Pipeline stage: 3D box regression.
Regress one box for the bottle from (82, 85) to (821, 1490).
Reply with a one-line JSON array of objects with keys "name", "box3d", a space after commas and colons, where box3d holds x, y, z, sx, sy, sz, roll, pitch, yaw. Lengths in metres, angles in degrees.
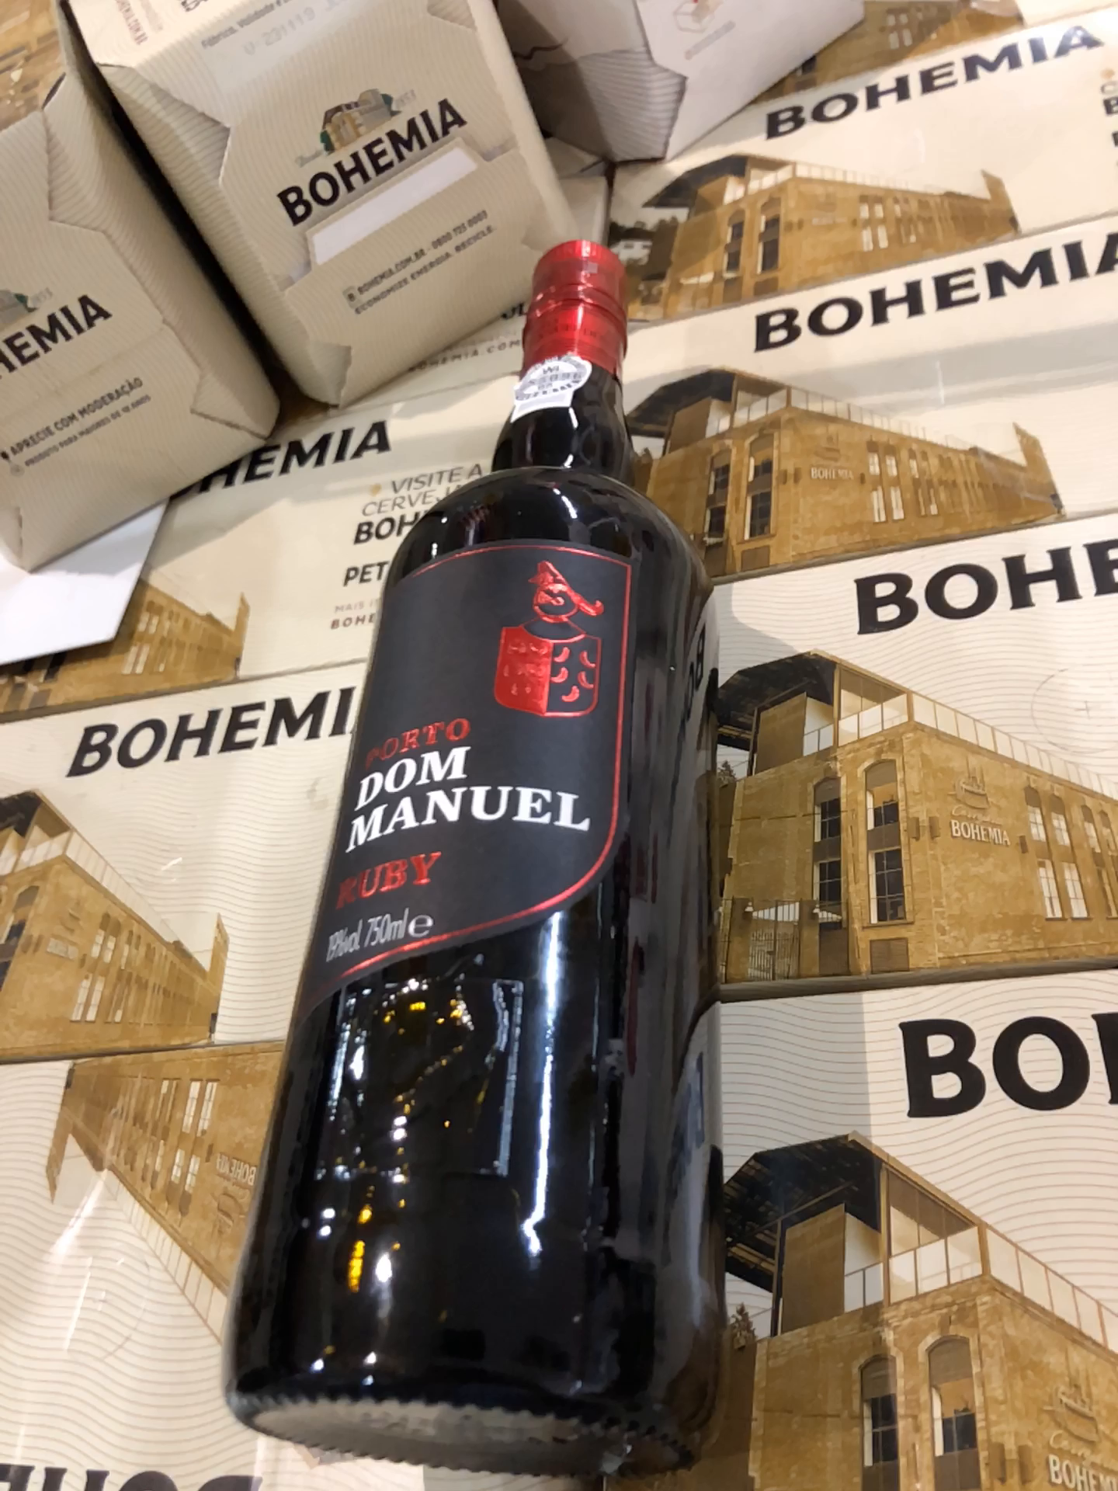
[{"name": "bottle", "box3d": [0.000, -0.020, 0.275, 0.090, 0.070, 0.331, -5, 53, 12]}]
